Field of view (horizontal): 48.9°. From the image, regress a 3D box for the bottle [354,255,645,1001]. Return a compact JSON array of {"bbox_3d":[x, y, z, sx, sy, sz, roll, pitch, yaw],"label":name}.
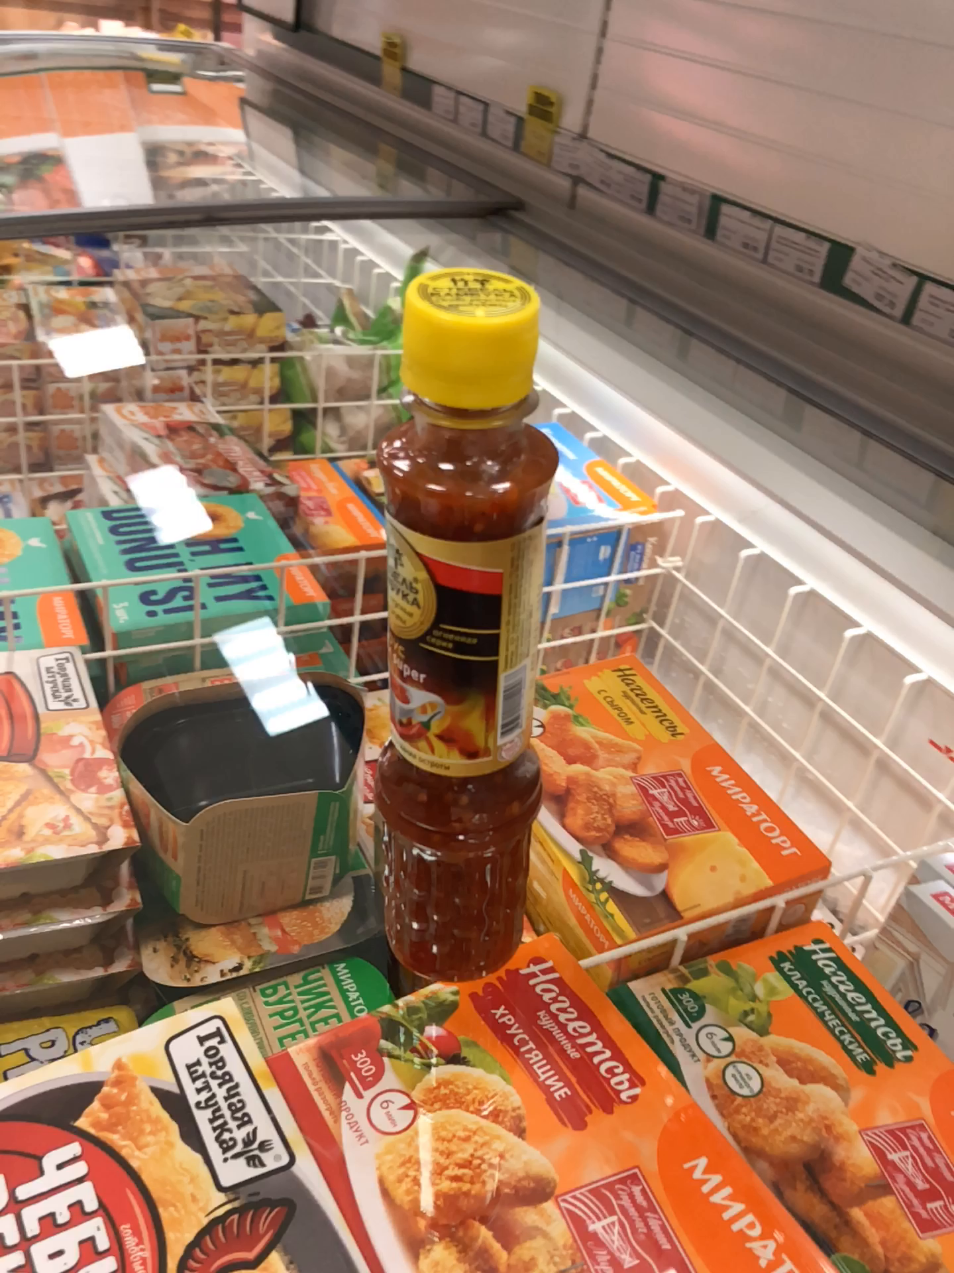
[{"bbox_3d":[-0.003,0.010,0.297,0.047,0.212,0.048,3,35,-2],"label":"bottle"}]
